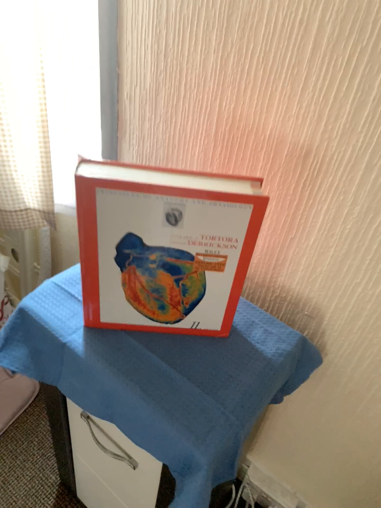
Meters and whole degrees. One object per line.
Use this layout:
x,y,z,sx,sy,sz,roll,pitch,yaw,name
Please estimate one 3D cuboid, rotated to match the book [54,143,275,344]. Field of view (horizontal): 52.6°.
-0.045,0.003,0.561,0.260,0.287,0.061,6,37,-4,book
